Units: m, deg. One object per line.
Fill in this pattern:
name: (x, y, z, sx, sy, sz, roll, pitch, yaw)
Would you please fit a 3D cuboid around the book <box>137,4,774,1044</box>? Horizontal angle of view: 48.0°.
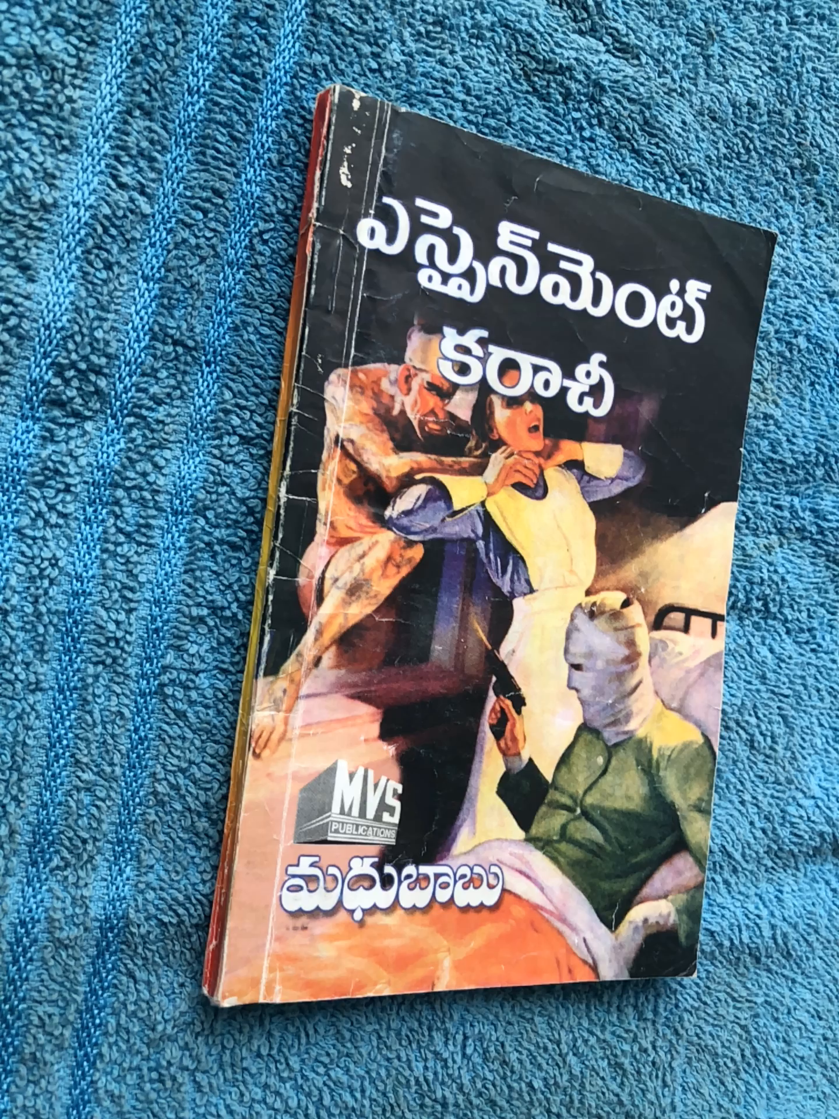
book: (0.013, -0.002, 0.185, 0.110, 0.020, 0.170, 8, 87, -25)
